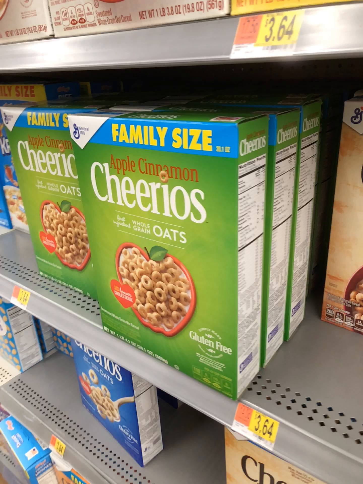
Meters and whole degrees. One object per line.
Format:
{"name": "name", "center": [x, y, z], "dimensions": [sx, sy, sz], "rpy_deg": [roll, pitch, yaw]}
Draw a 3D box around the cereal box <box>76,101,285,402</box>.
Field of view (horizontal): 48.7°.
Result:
{"name": "cereal box", "center": [-0.007, 0.001, 0.477], "dimensions": [0.230, 0.309, 0.060], "rpy_deg": [16, 29, 36]}
